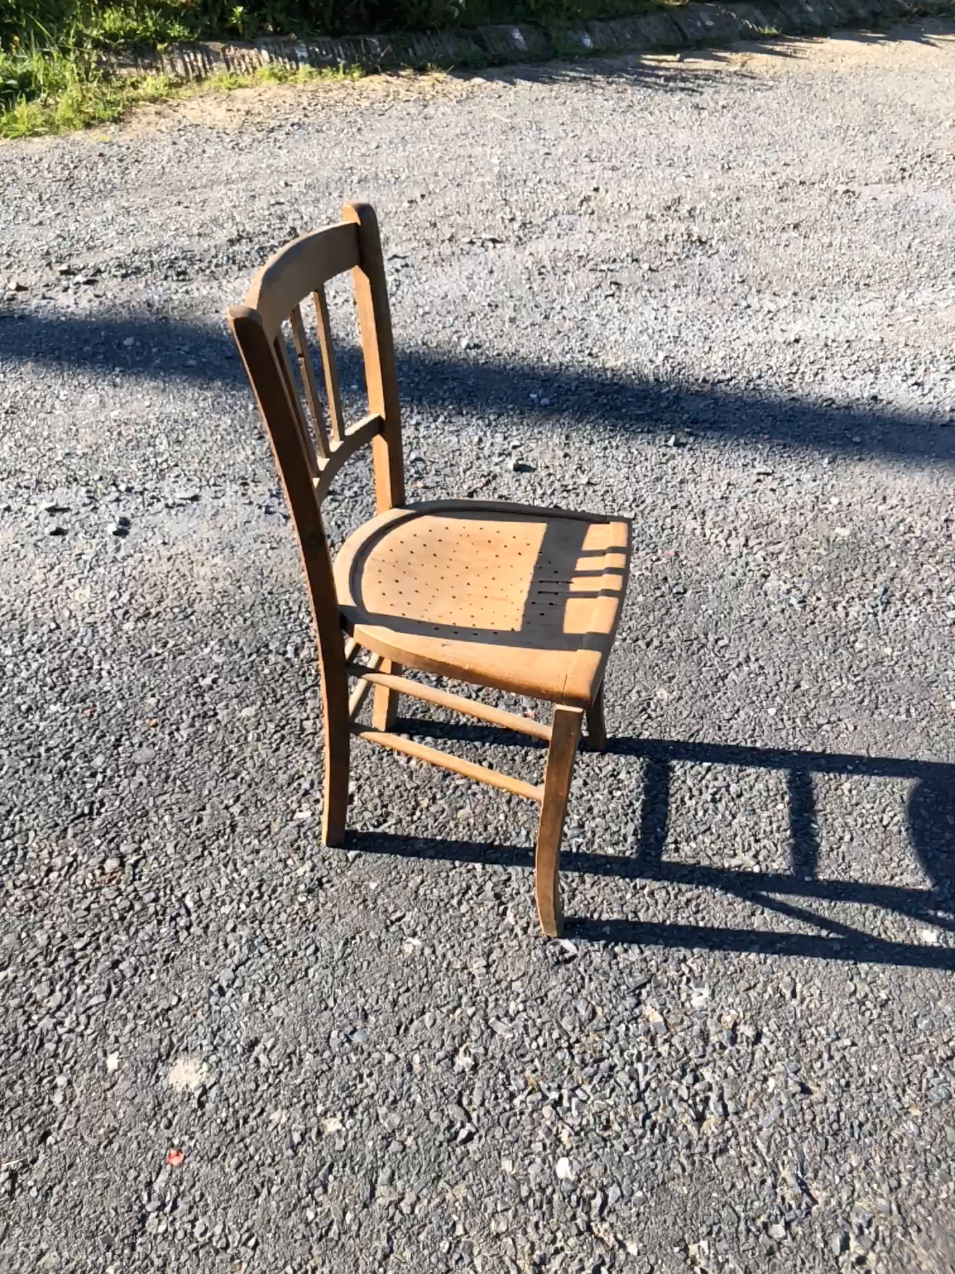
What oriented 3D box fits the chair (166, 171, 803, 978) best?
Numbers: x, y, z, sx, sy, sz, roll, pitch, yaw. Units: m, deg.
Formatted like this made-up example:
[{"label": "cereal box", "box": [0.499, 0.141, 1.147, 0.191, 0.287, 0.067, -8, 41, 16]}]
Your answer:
[{"label": "chair", "box": [0.007, -0.070, 1.289, 0.540, 0.736, 0.493, 15, 41, 7]}]
